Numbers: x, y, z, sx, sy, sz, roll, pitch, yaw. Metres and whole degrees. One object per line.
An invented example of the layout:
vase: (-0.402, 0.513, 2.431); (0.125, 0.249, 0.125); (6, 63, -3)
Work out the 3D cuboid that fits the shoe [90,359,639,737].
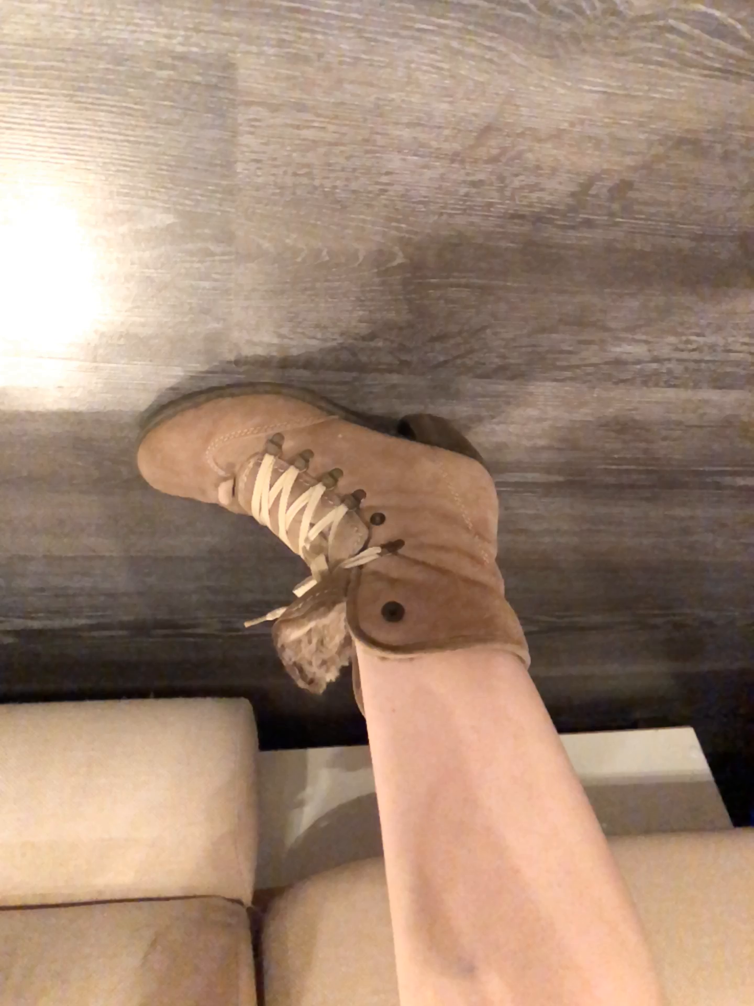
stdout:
shoe: (-0.018, 0.026, 0.539); (0.290, 0.209, 0.110); (2, 137, -12)
